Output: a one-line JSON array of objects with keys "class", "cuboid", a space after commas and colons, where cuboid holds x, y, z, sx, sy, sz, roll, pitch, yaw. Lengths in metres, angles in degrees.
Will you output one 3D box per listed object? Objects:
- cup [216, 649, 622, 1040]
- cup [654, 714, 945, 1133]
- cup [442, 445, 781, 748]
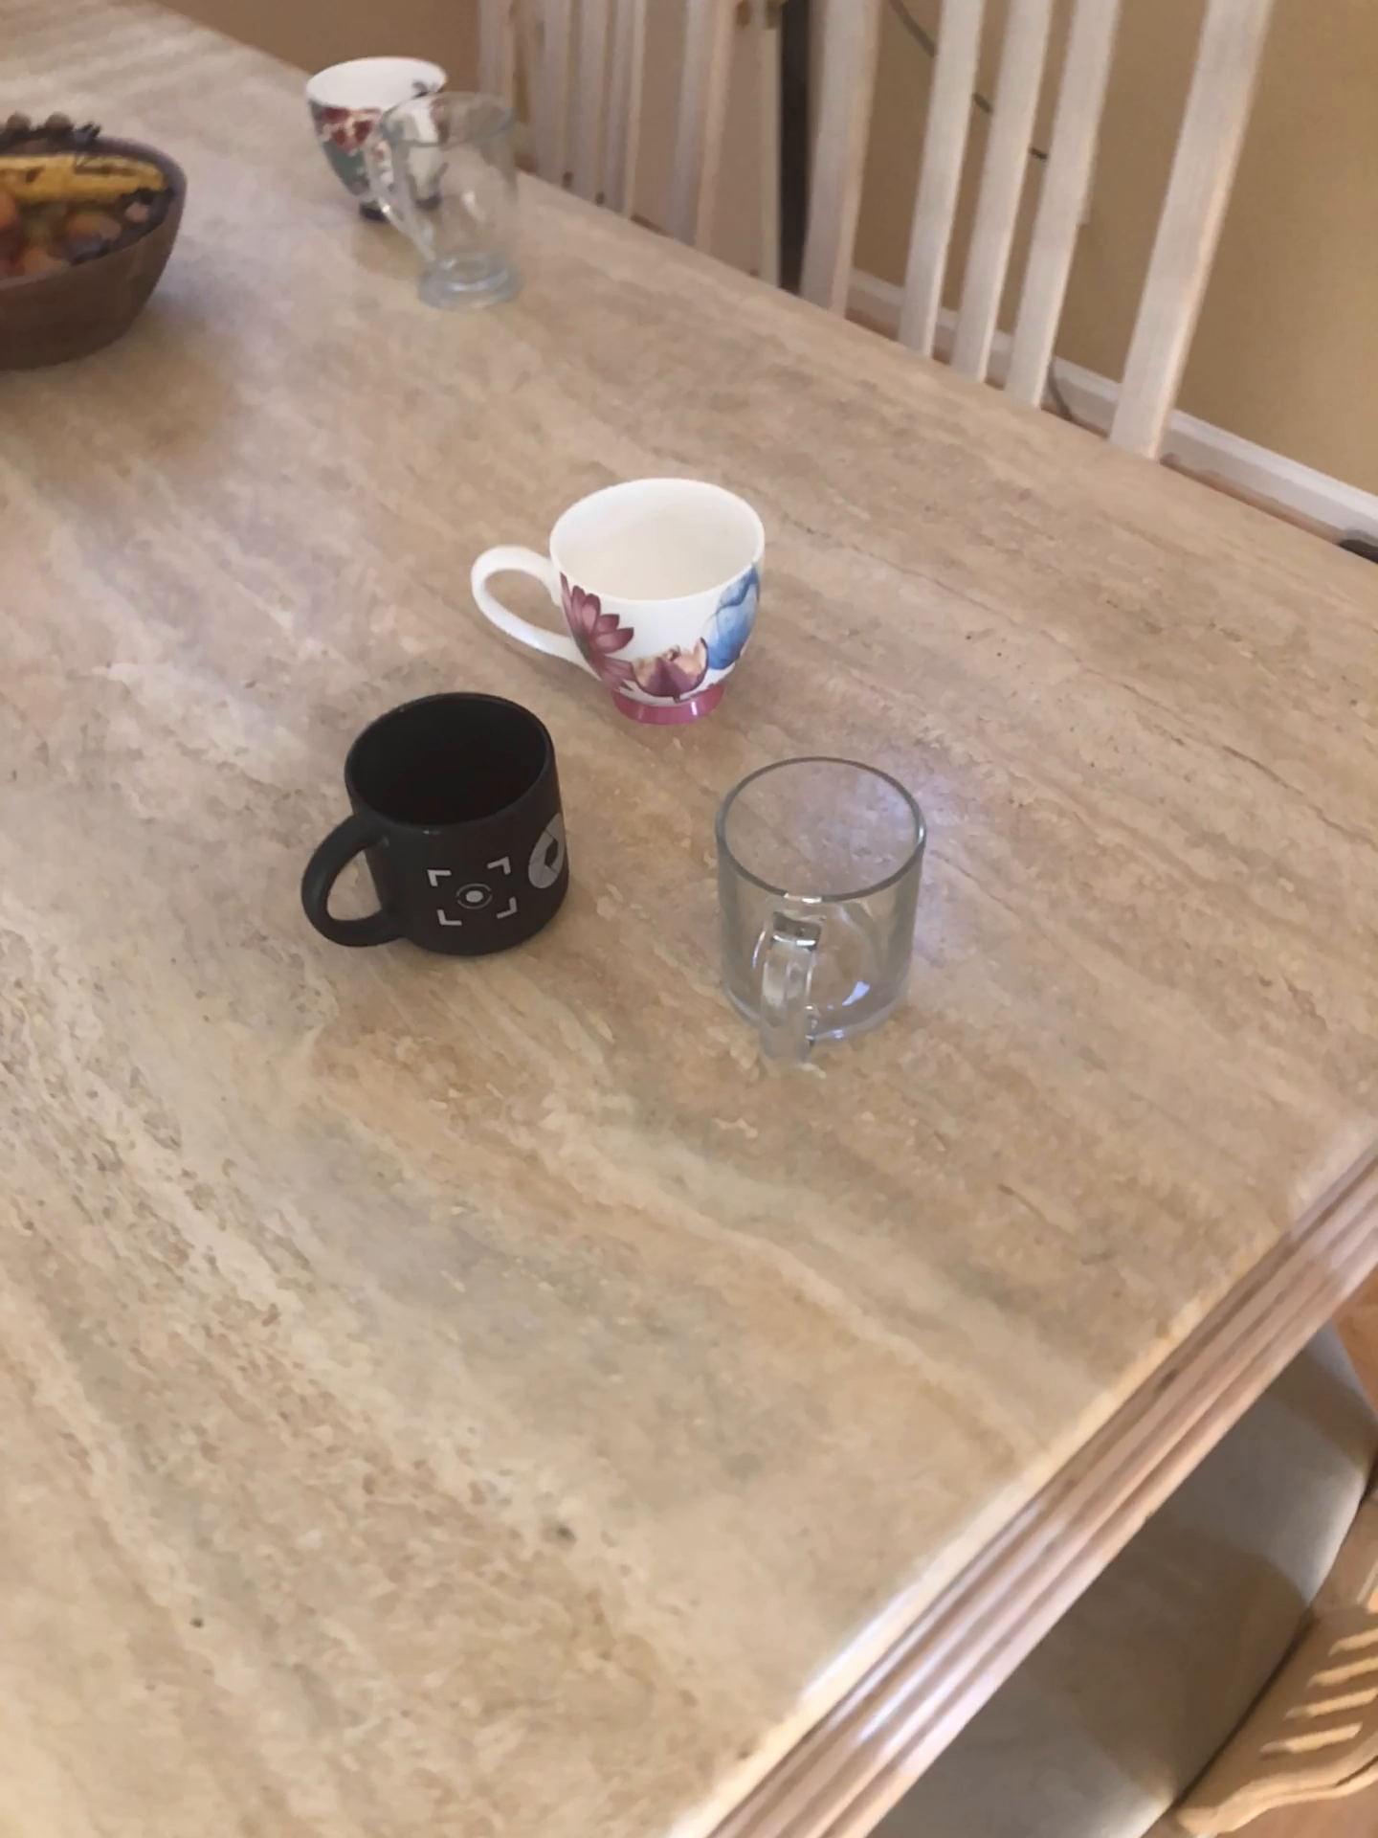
[{"class": "cup", "cuboid": [-0.119, -0.036, 0.688, 0.140, 0.089, 0.100, -25, 51, -19]}, {"class": "cup", "cuboid": [0.049, -0.001, 0.638, 0.090, 0.089, 0.141, 9, 48, 11]}, {"class": "cup", "cuboid": [-0.039, -0.168, 0.788, 0.160, 0.089, 0.121, -5, 47, -1]}]
